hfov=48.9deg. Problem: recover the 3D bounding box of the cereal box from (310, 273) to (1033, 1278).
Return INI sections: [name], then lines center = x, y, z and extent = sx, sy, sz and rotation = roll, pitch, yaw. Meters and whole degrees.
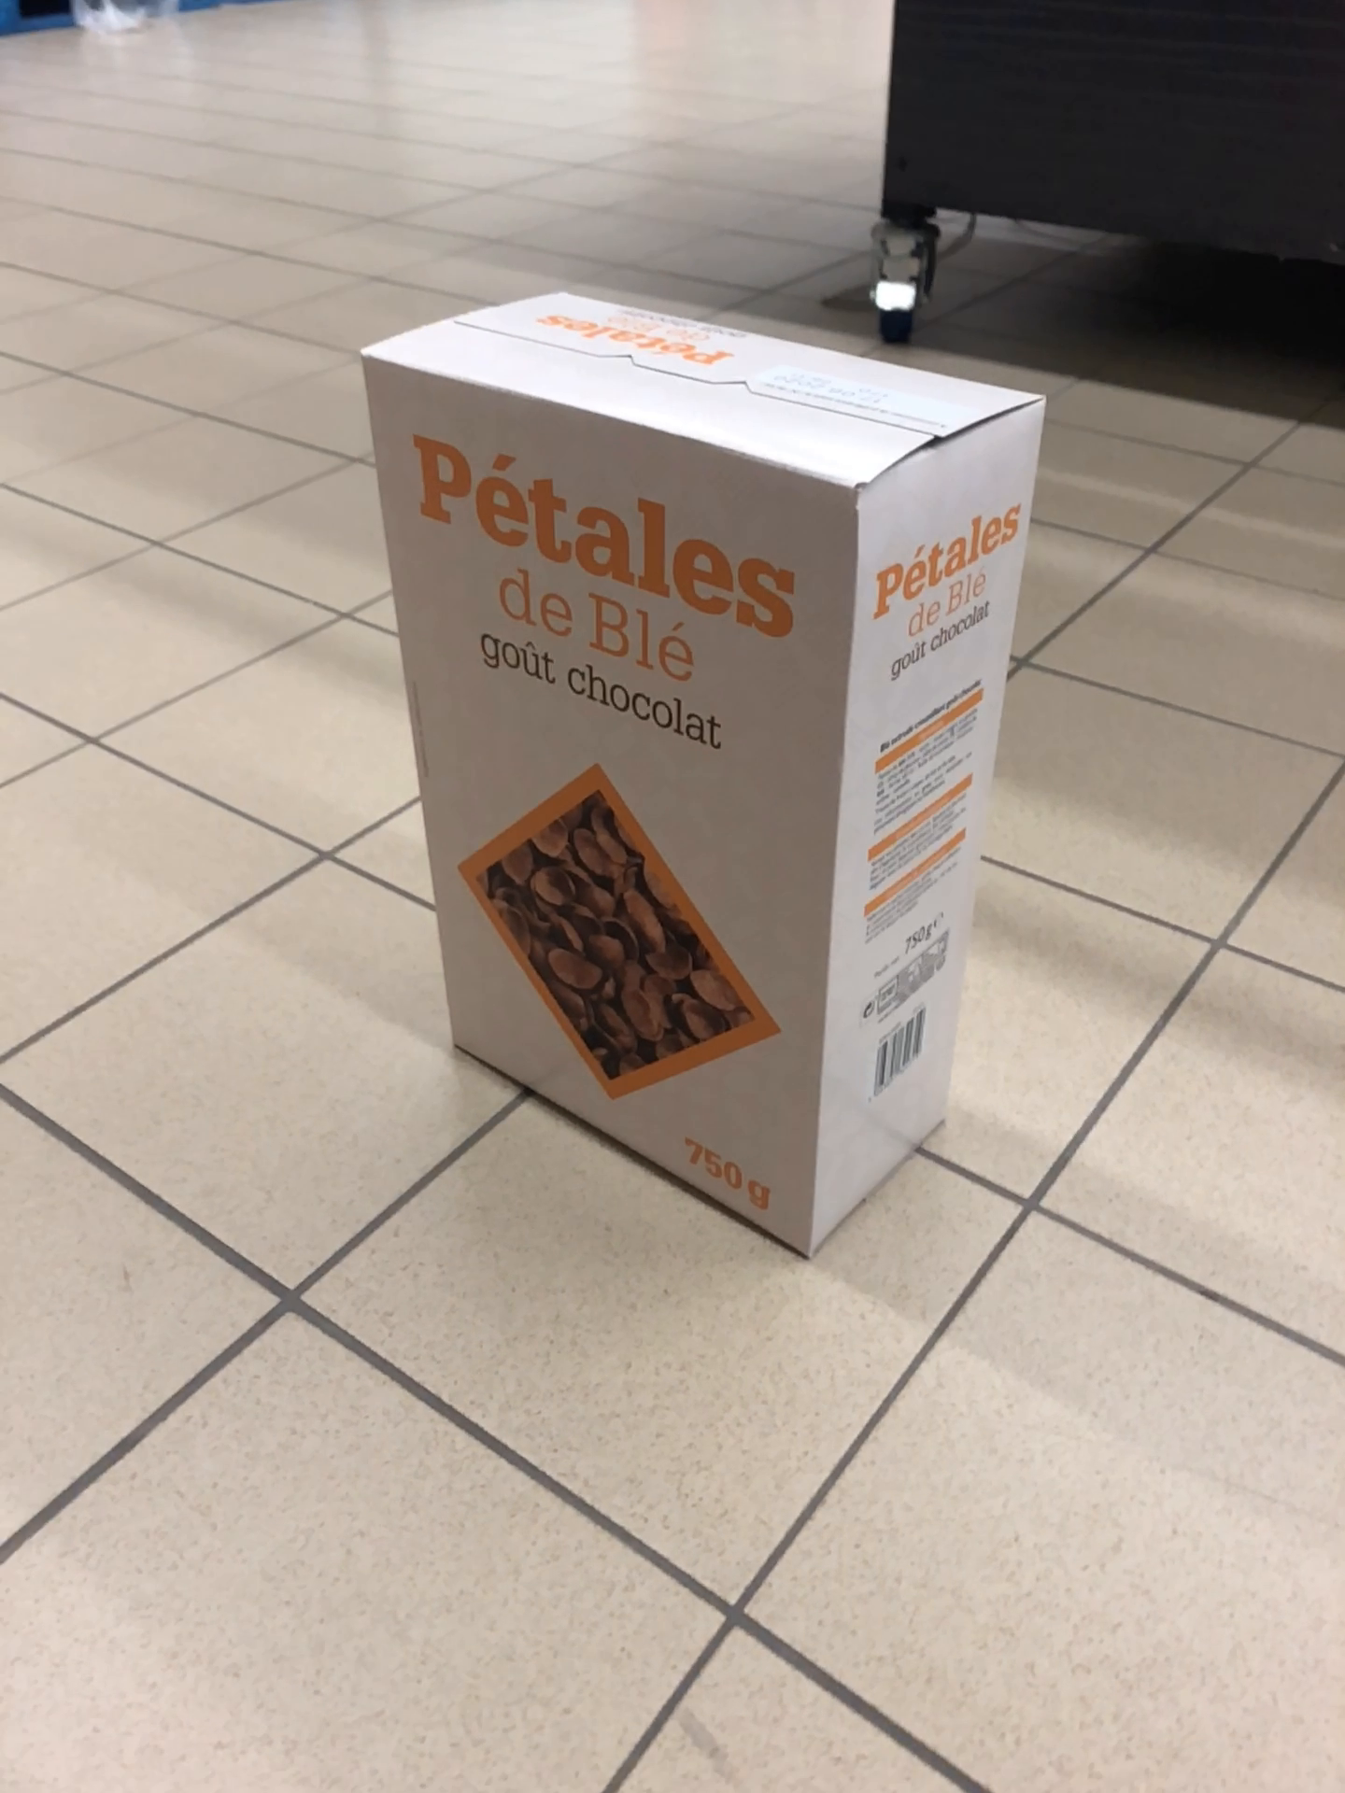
[cereal box]
center = -0.003, -0.041, 0.515
extent = 0.190, 0.288, 0.101
rotation = 24, 42, 31
